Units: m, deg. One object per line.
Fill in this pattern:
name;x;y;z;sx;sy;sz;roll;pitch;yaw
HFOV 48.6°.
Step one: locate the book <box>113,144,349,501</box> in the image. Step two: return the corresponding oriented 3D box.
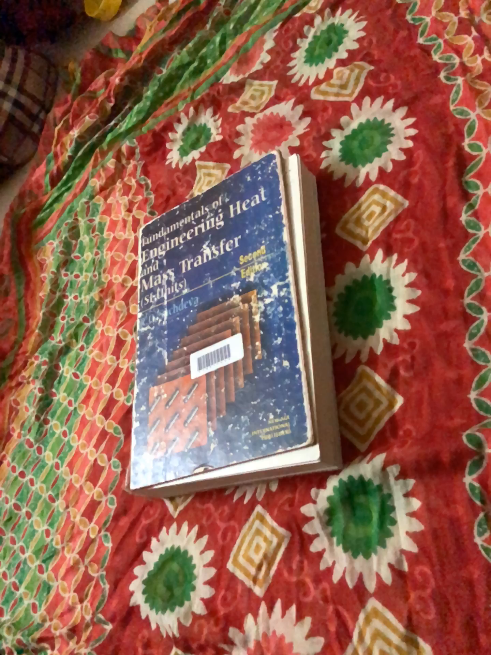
book;-0.018;0.002;0.372;0.151;0.043;0.209;-19;61;34
